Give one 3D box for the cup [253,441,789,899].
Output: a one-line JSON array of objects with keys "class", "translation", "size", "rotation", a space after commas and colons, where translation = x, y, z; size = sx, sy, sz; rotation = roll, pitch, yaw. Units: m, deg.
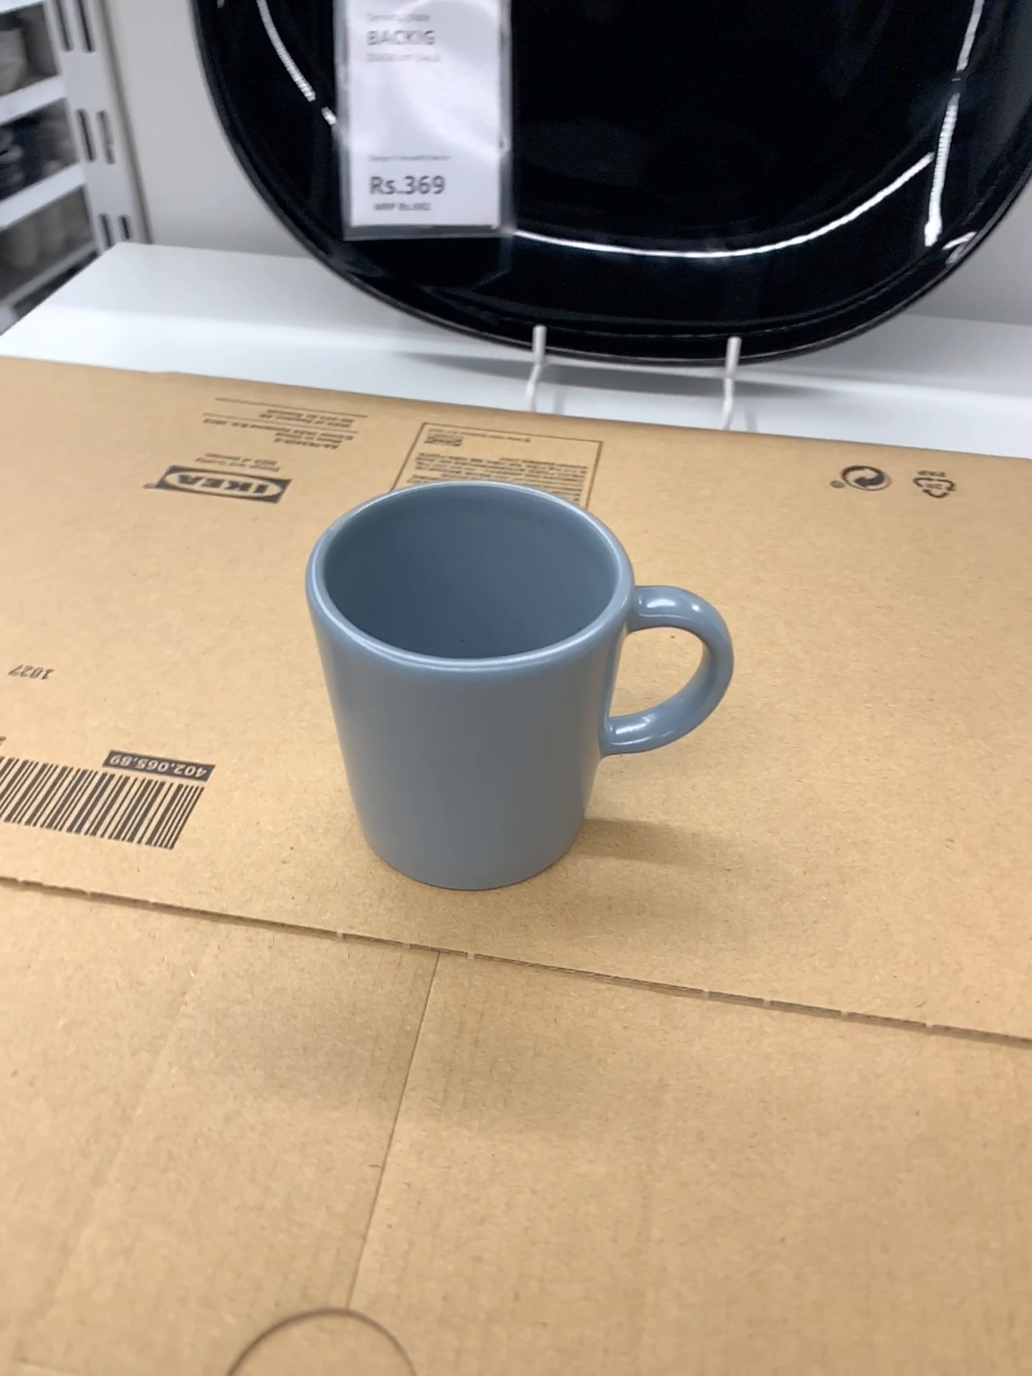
[{"class": "cup", "translation": [-0.002, -0.005, 0.201], "size": [0.080, 0.060, 0.060], "rotation": [-1, 40, -5]}]
